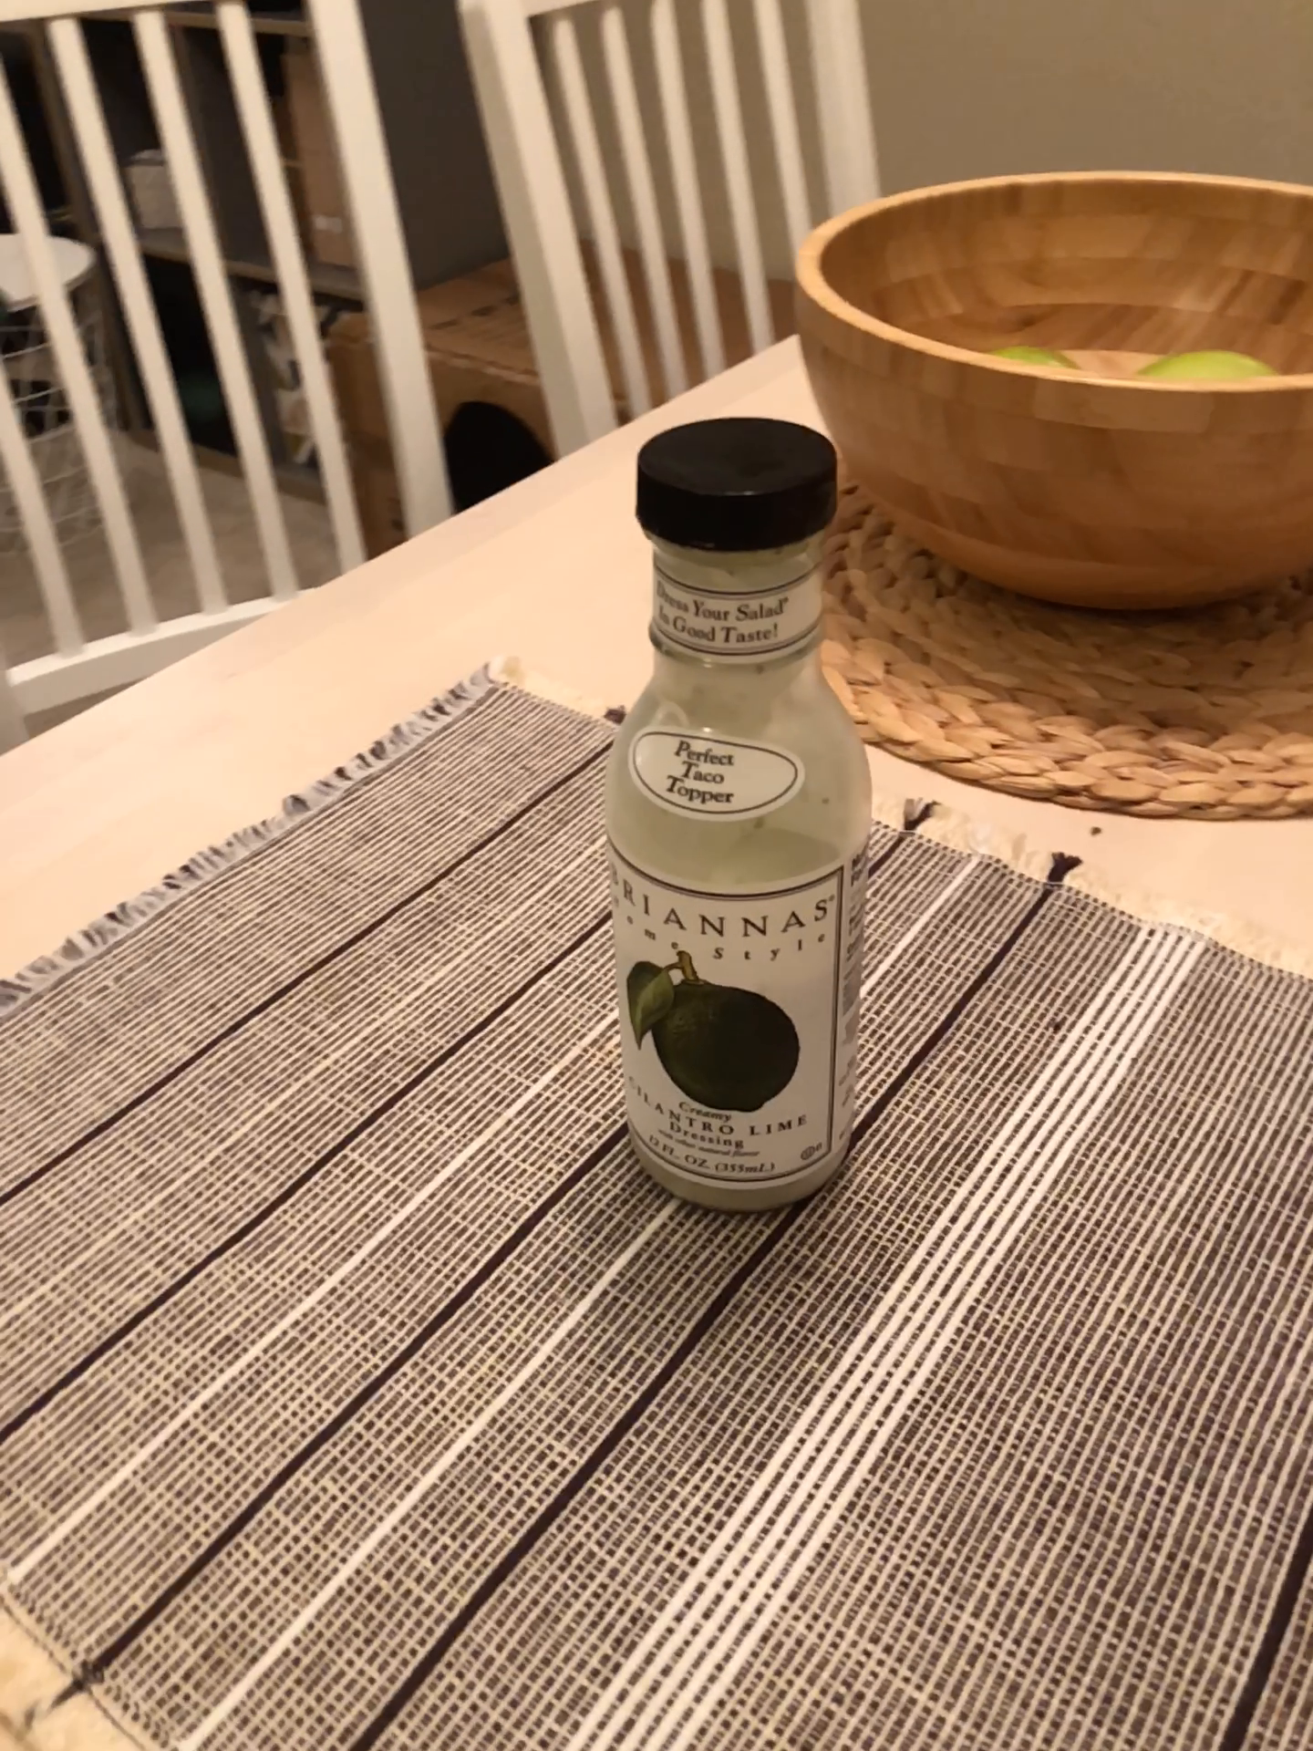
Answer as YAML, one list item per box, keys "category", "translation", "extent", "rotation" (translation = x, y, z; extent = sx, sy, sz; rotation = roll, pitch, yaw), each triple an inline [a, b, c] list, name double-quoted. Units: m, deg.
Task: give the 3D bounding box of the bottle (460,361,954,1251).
- category: "bottle"
  translation: [0.015, -0.010, 0.335]
  extent: [0.074, 0.186, 0.070]
  rotation: [-1, 38, 1]
